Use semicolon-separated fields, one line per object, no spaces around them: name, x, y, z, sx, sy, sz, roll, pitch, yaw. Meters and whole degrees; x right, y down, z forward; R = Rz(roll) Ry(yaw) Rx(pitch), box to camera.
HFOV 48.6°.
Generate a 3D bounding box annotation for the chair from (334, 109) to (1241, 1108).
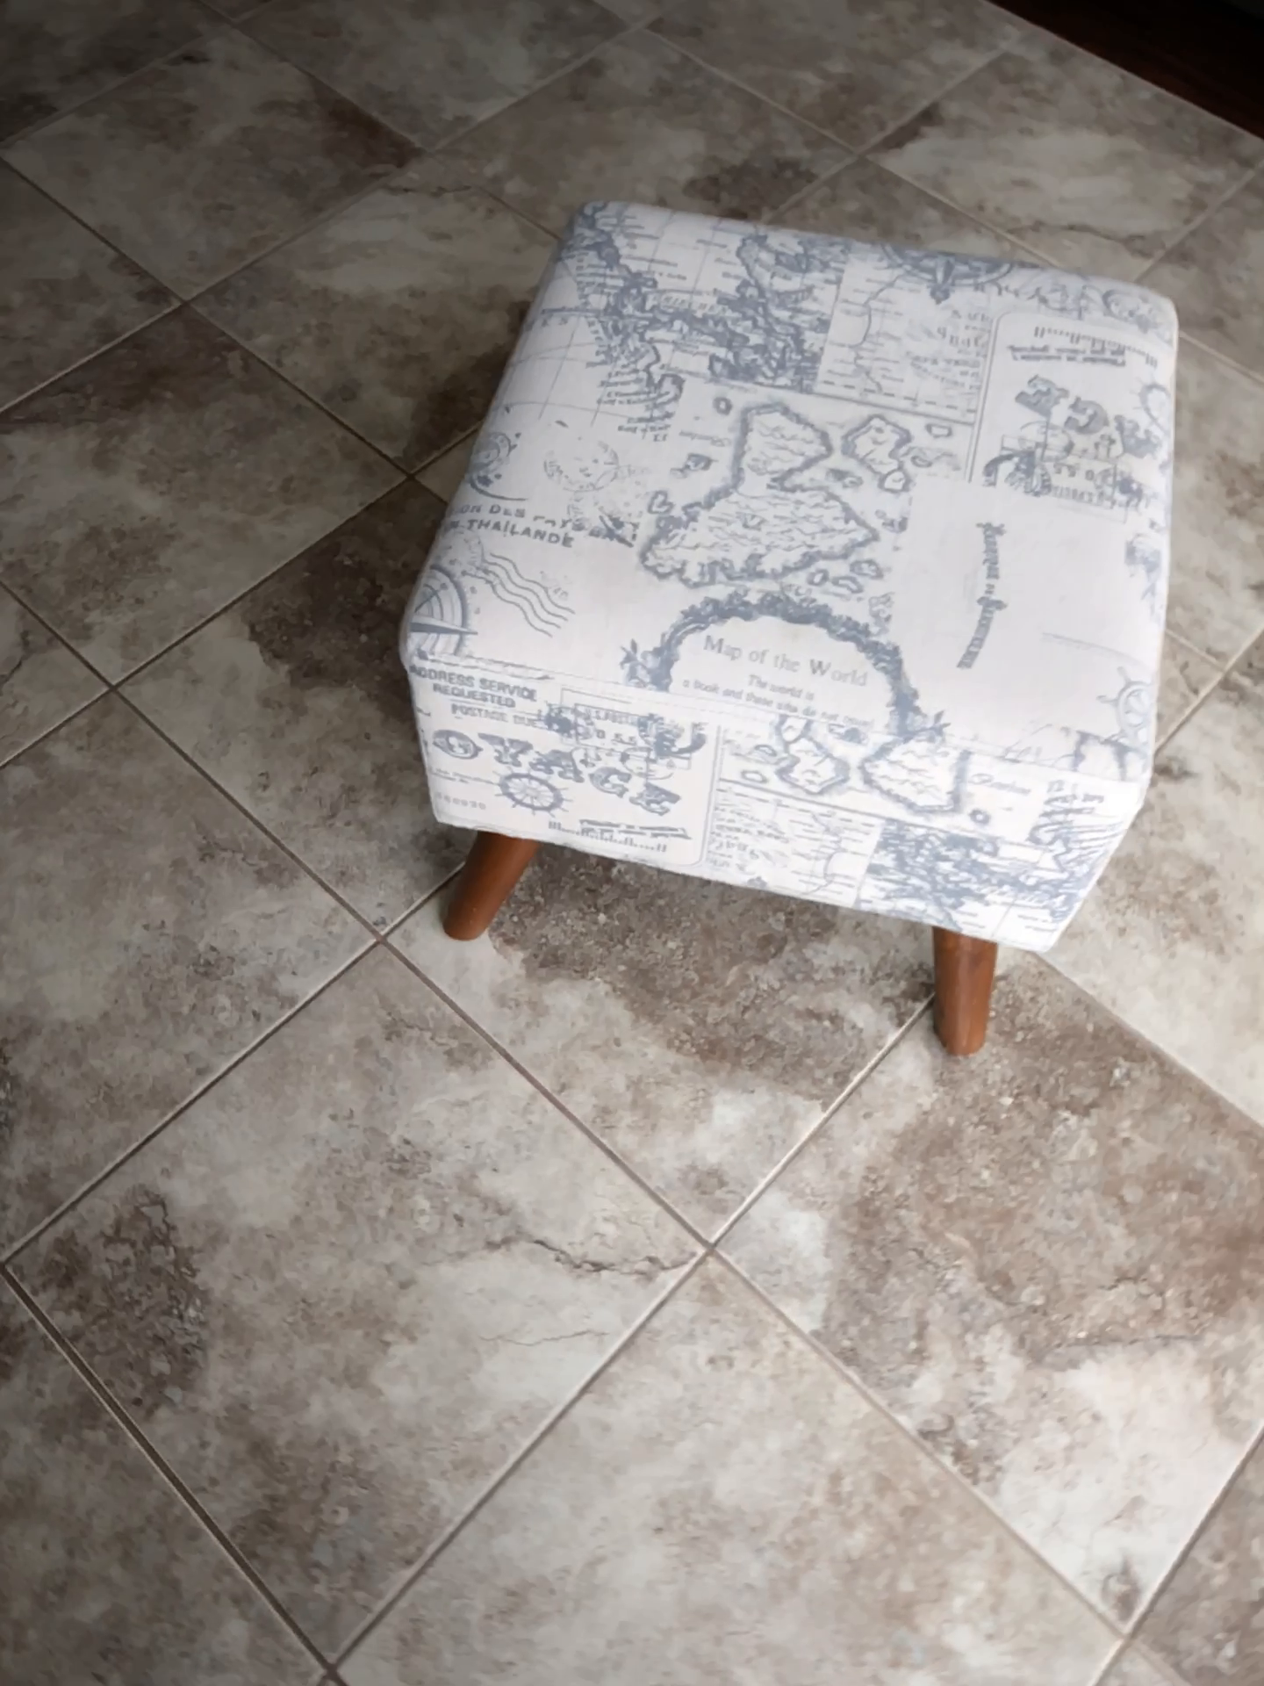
chair;0.112;-0.151;0.907;0.420;0.320;0.471;13;60;6
